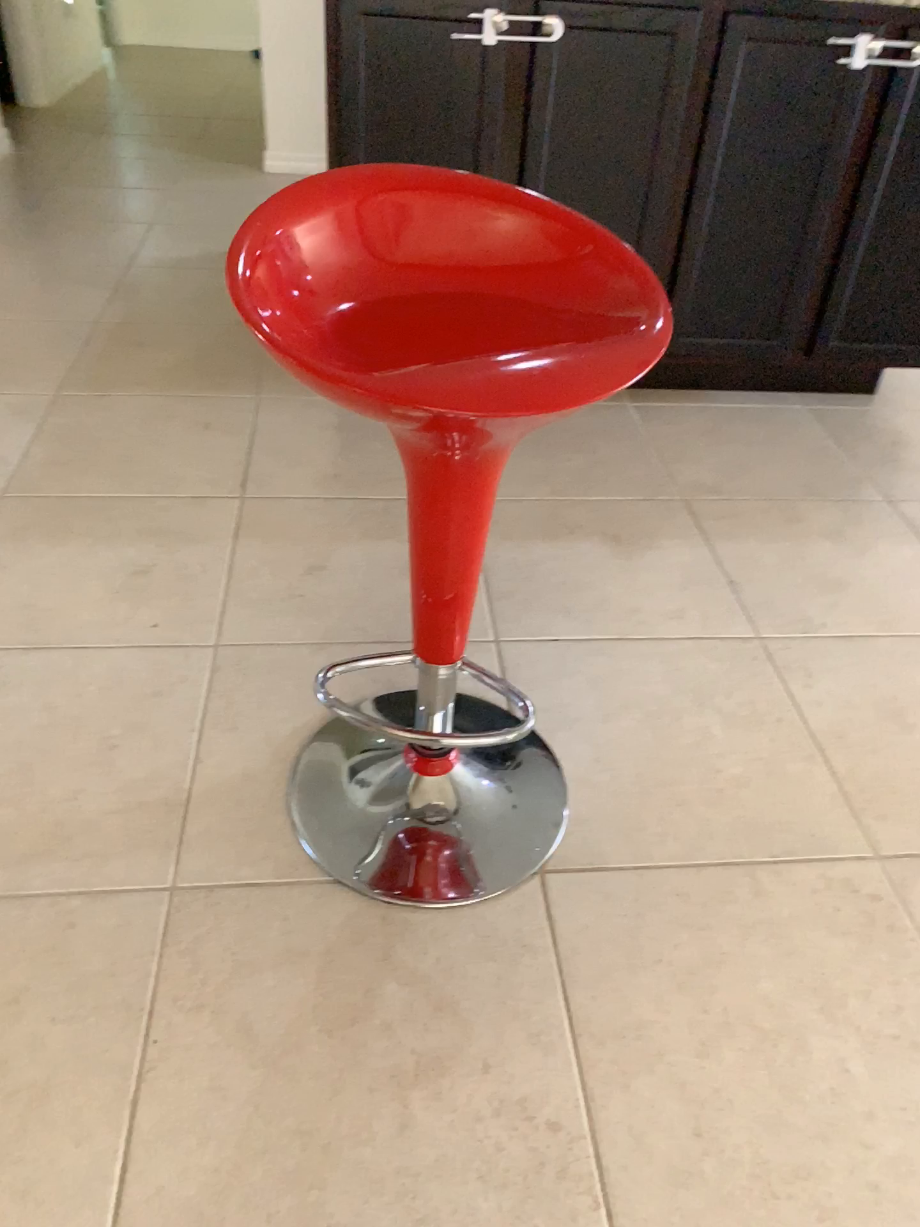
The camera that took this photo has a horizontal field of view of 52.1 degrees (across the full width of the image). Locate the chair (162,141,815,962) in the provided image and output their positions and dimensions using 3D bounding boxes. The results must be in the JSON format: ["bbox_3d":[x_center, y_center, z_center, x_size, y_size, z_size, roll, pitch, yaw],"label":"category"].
[{"bbox_3d":[-0.023,-0.078,1.053,0.438,0.726,0.435,-13,40,-22],"label":"chair"}]
